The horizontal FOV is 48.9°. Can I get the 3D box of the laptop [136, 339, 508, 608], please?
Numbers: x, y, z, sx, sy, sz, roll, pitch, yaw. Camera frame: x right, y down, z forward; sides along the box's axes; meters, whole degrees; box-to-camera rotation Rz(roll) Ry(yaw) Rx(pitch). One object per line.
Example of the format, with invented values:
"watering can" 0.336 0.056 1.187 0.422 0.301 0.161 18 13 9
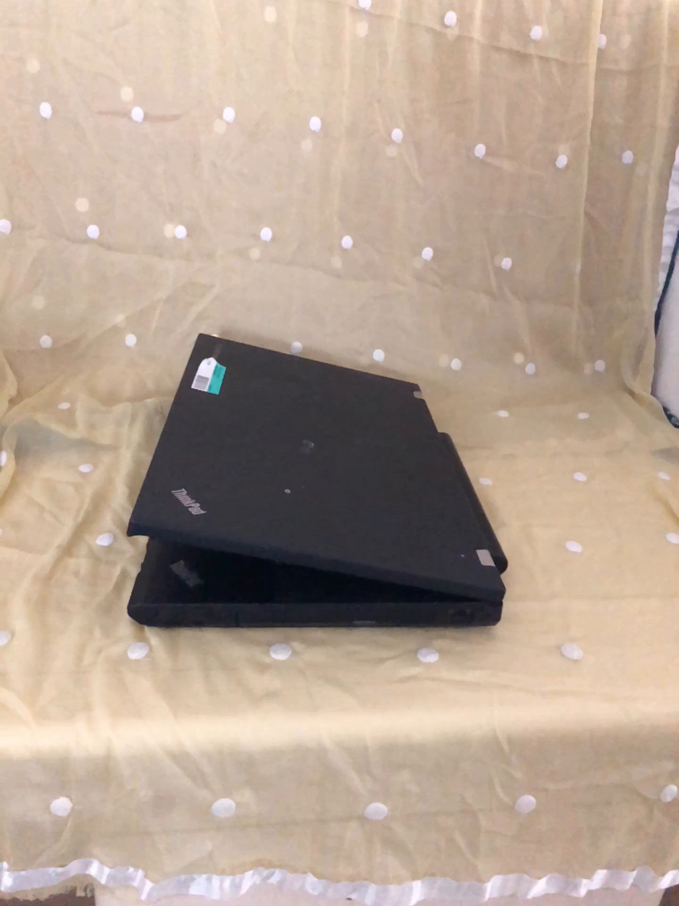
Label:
"laptop" -0.020 -0.010 0.621 0.225 0.050 0.358 0 27 -2
